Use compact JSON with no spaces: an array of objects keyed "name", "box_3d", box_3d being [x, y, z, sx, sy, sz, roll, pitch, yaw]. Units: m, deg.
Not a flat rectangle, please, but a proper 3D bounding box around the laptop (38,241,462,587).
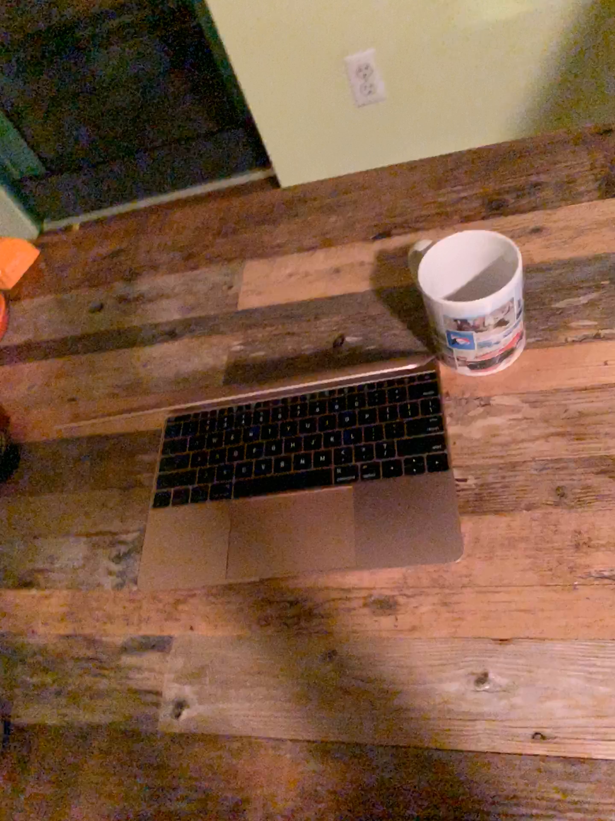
[{"name":"laptop","box_3d":[-0.036,0.014,0.515,0.278,0.145,0.194,-9,56,15]}]
